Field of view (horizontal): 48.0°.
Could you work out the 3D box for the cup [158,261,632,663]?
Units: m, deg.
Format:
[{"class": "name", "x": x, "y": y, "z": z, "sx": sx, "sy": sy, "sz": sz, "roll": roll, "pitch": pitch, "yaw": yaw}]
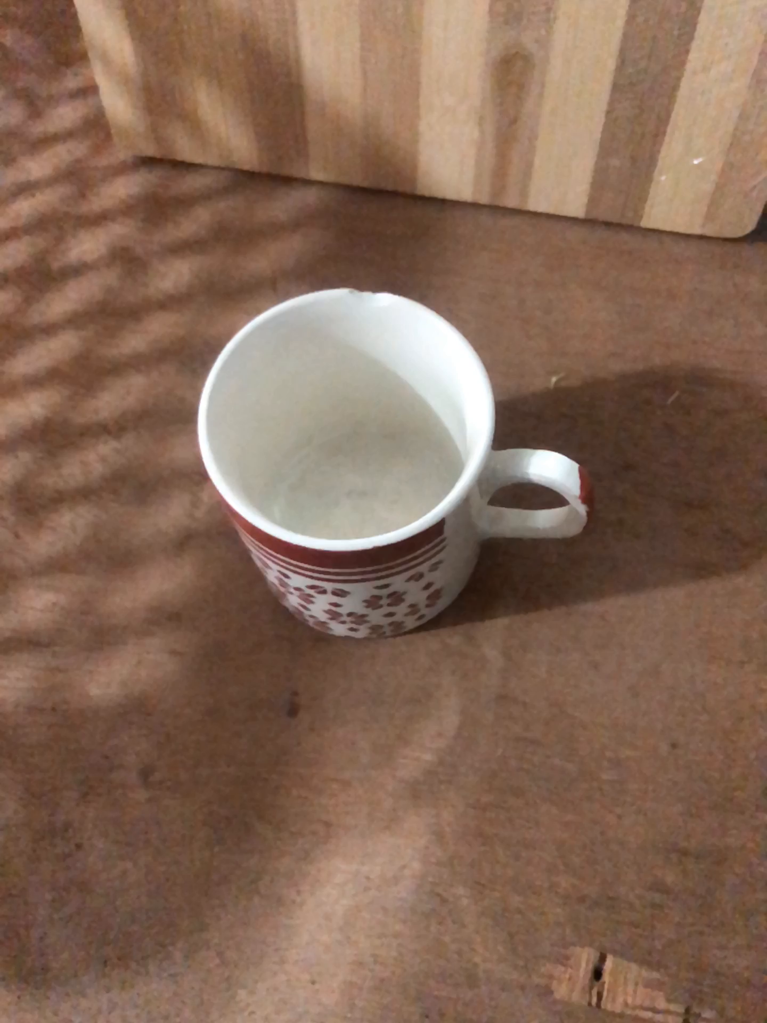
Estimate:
[{"class": "cup", "x": 0.006, "y": -0.009, "z": 0.209, "sx": 0.090, "sy": 0.070, "sz": 0.070, "roll": 2, "pitch": 67, "yaw": 6}]
